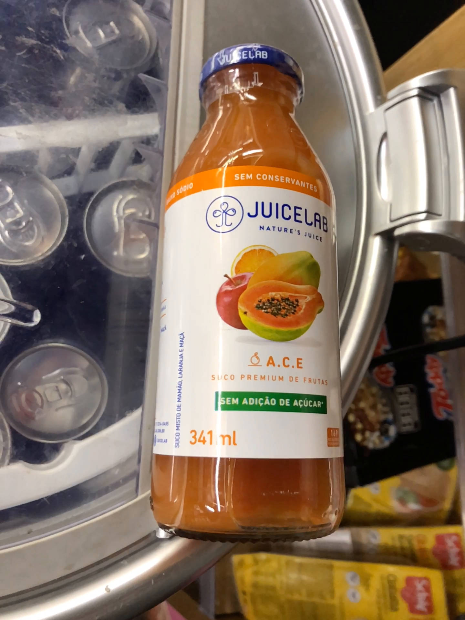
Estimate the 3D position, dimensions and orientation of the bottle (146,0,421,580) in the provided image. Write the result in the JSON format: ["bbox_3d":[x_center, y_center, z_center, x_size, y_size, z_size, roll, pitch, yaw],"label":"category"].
[{"bbox_3d":[0.017,-0.019,0.182,0.070,0.050,0.190,7,77,-19],"label":"bottle"}]
